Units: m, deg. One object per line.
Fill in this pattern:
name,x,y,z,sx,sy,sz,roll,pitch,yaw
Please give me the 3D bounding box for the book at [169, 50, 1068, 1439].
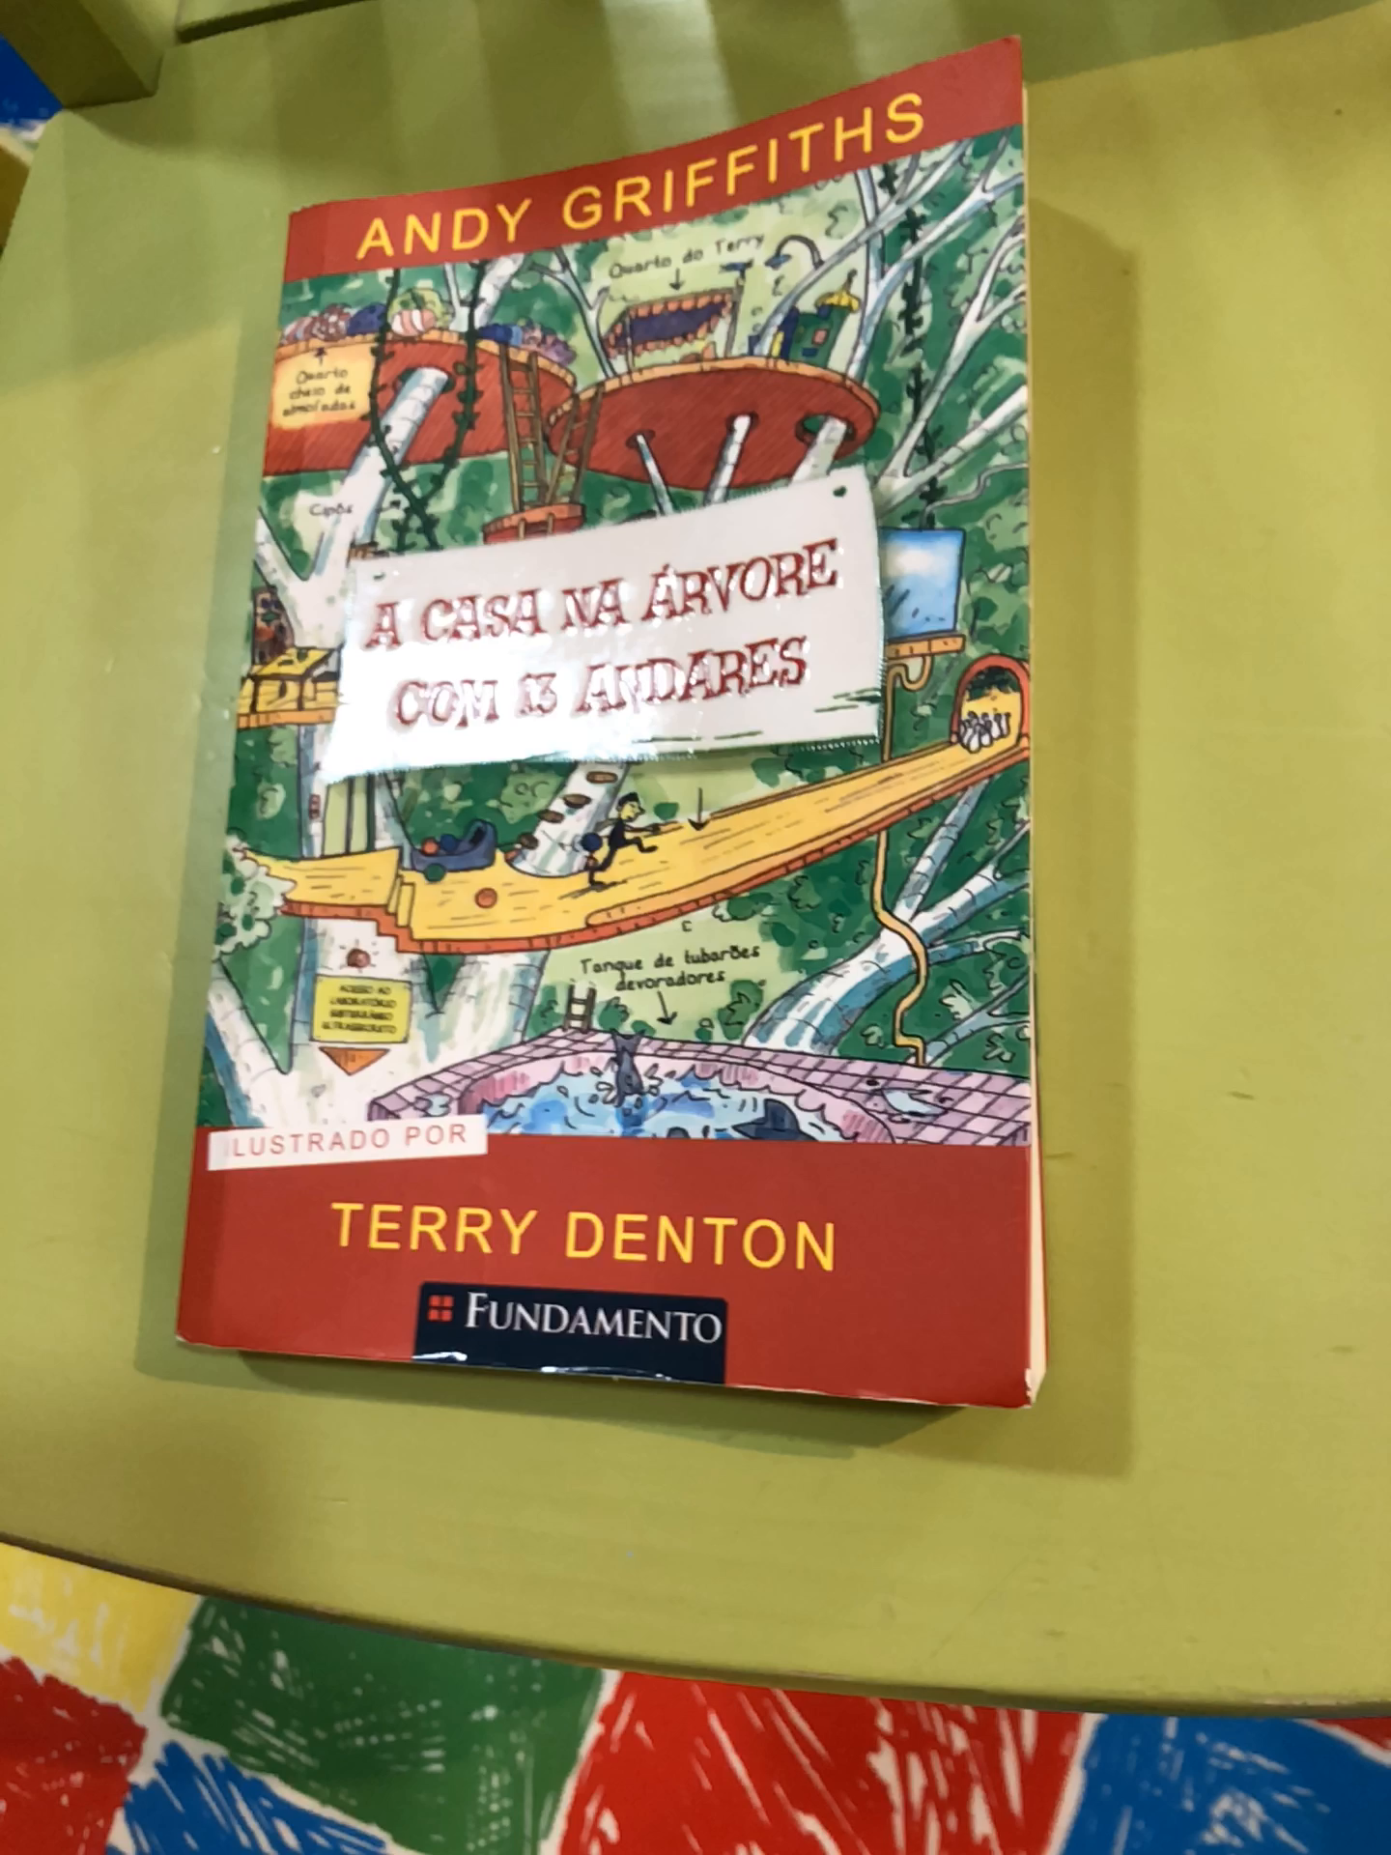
book,-0.009,-0.030,0.266,0.137,0.040,0.210,-2,78,19
